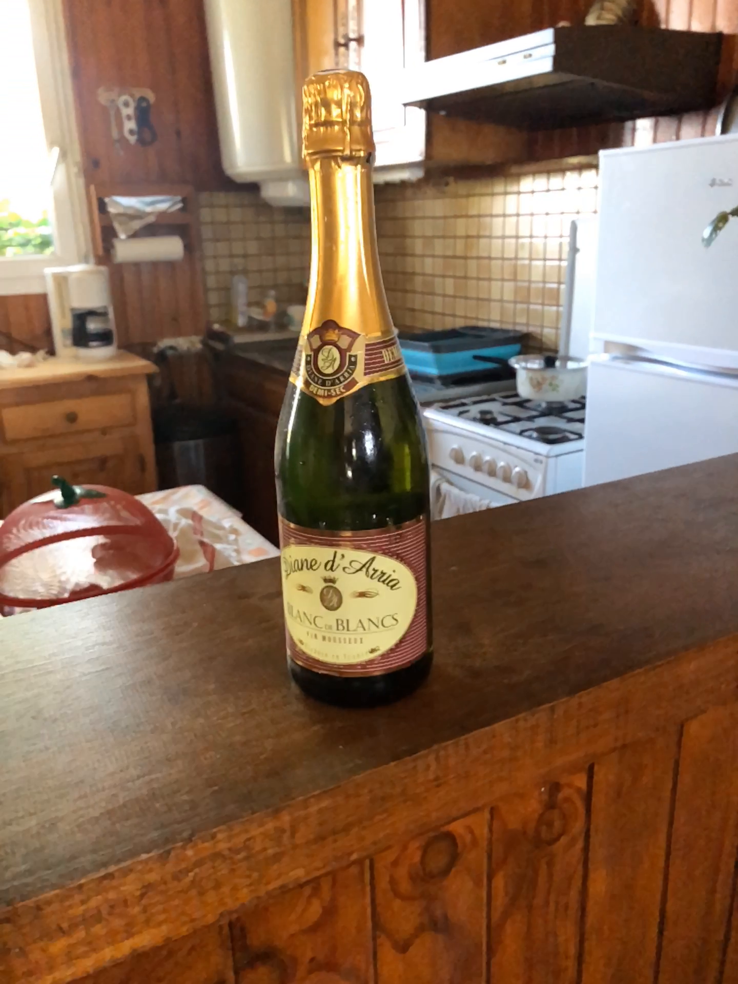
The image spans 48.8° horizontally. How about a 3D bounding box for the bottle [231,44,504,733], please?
[{"bbox_3d":[0.008,-0.045,0.411,0.090,0.299,0.101,6,19,23],"label":"bottle"}]
